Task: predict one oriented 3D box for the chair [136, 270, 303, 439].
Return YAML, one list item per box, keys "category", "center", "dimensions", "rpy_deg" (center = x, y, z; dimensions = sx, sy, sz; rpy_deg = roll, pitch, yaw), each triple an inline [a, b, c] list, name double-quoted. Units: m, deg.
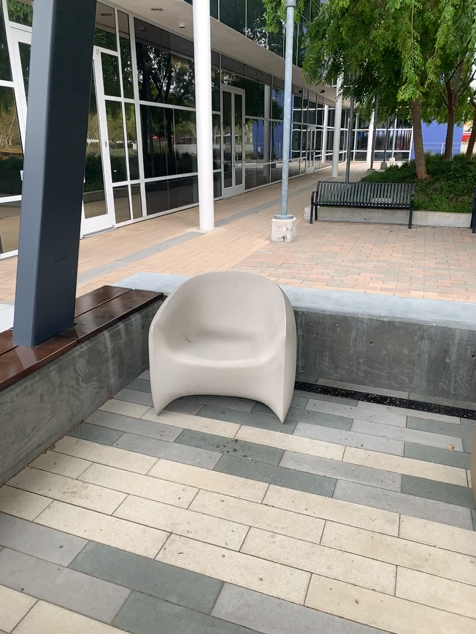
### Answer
- category: "chair"
  center: [-0.074, 0.204, 3.381]
  dimensions: [0.980, 0.786, 0.925]
  rpy_deg: [3, 22, 5]
